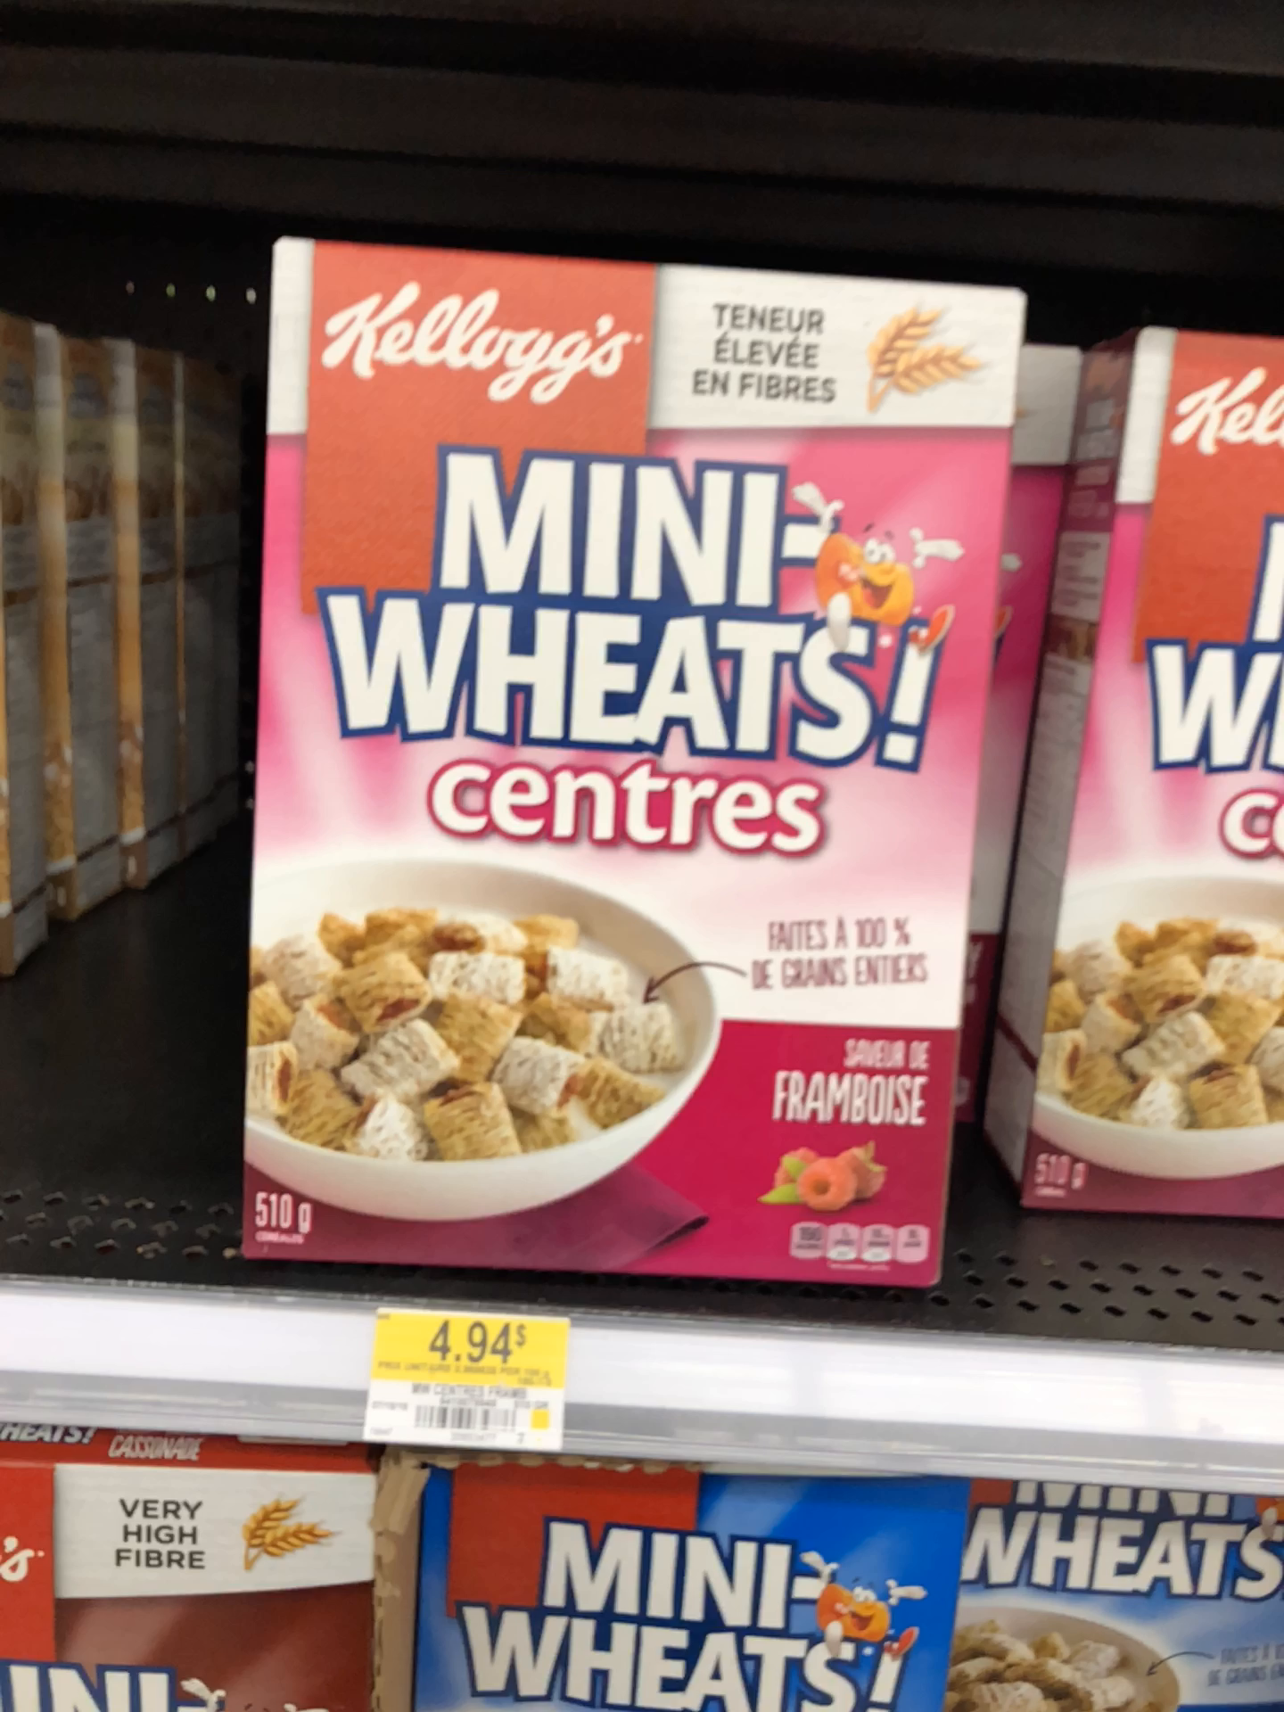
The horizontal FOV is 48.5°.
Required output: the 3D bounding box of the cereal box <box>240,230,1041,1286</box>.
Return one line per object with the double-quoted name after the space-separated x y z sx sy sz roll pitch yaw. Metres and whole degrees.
-0.005 -0.023 0.398 0.190 0.259 0.070 3 8 -2 "cereal box"
